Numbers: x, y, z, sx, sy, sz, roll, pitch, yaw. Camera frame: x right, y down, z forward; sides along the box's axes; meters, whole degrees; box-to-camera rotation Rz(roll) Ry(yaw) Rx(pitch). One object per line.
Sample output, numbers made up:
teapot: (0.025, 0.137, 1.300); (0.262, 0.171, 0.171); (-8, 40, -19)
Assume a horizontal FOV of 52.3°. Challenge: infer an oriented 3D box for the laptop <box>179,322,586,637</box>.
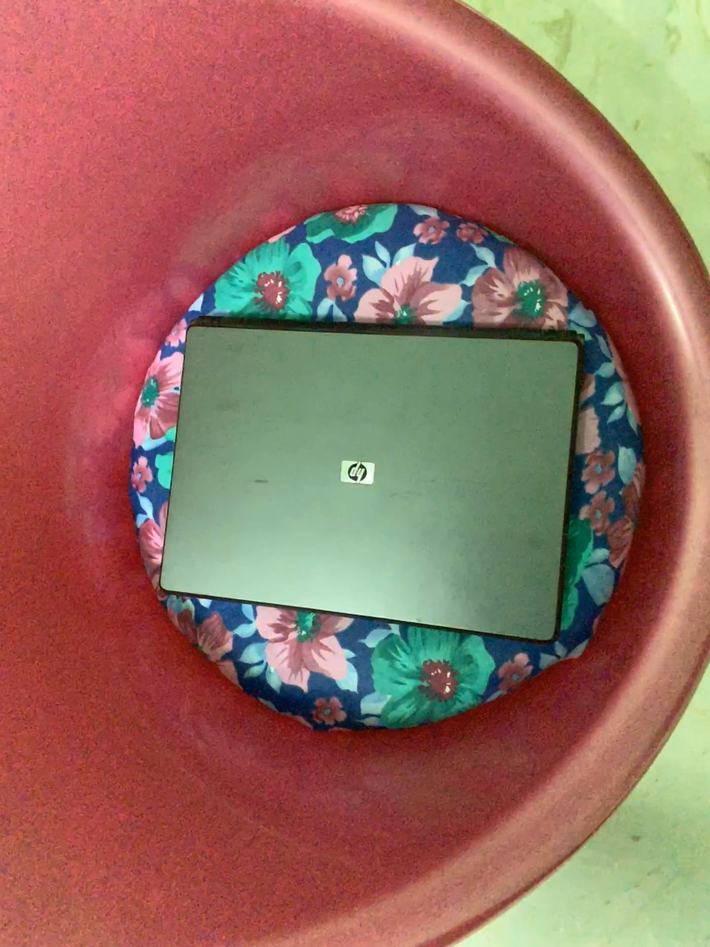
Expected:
laptop: (0.015, -0.001, 0.569); (0.303, 0.003, 0.222); (5, 88, 10)
